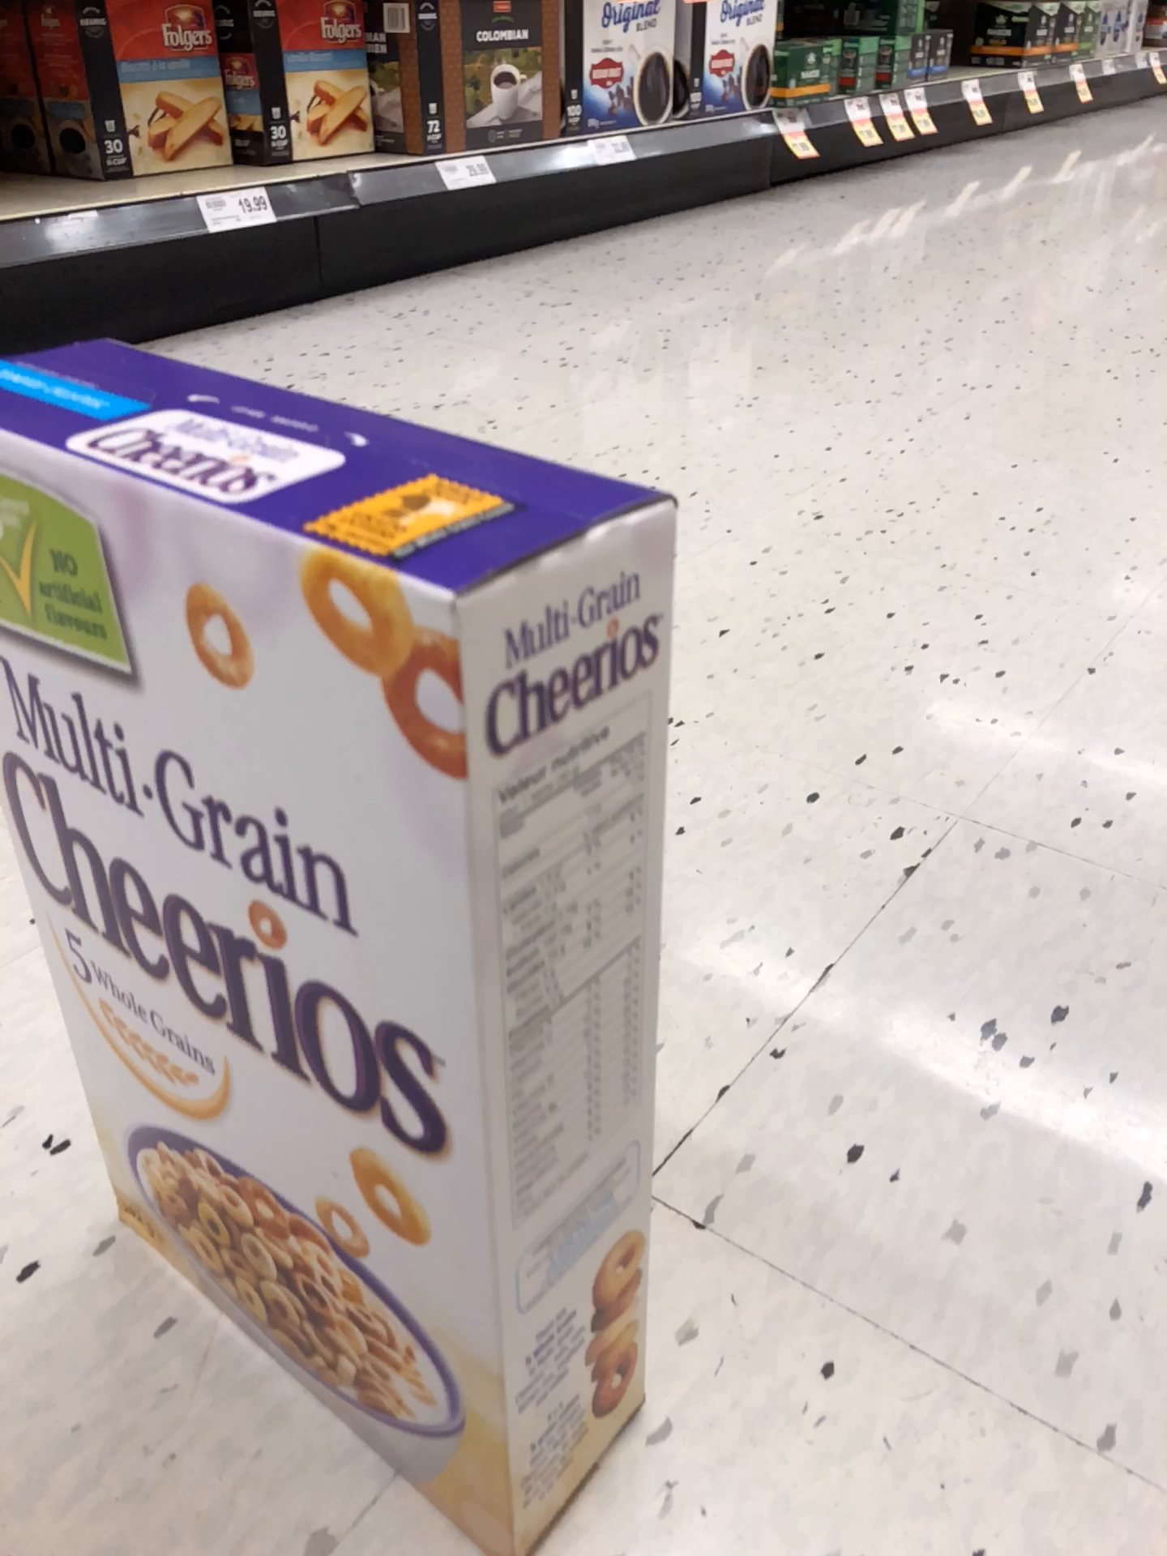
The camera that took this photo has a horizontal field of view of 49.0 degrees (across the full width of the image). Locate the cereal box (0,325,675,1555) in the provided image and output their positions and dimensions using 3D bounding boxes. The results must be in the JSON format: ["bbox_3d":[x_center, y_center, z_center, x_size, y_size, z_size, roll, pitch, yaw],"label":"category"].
[{"bbox_3d":[-0.076,0.056,0.348,0.190,0.308,0.060,23,39,32],"label":"cereal box"}]
